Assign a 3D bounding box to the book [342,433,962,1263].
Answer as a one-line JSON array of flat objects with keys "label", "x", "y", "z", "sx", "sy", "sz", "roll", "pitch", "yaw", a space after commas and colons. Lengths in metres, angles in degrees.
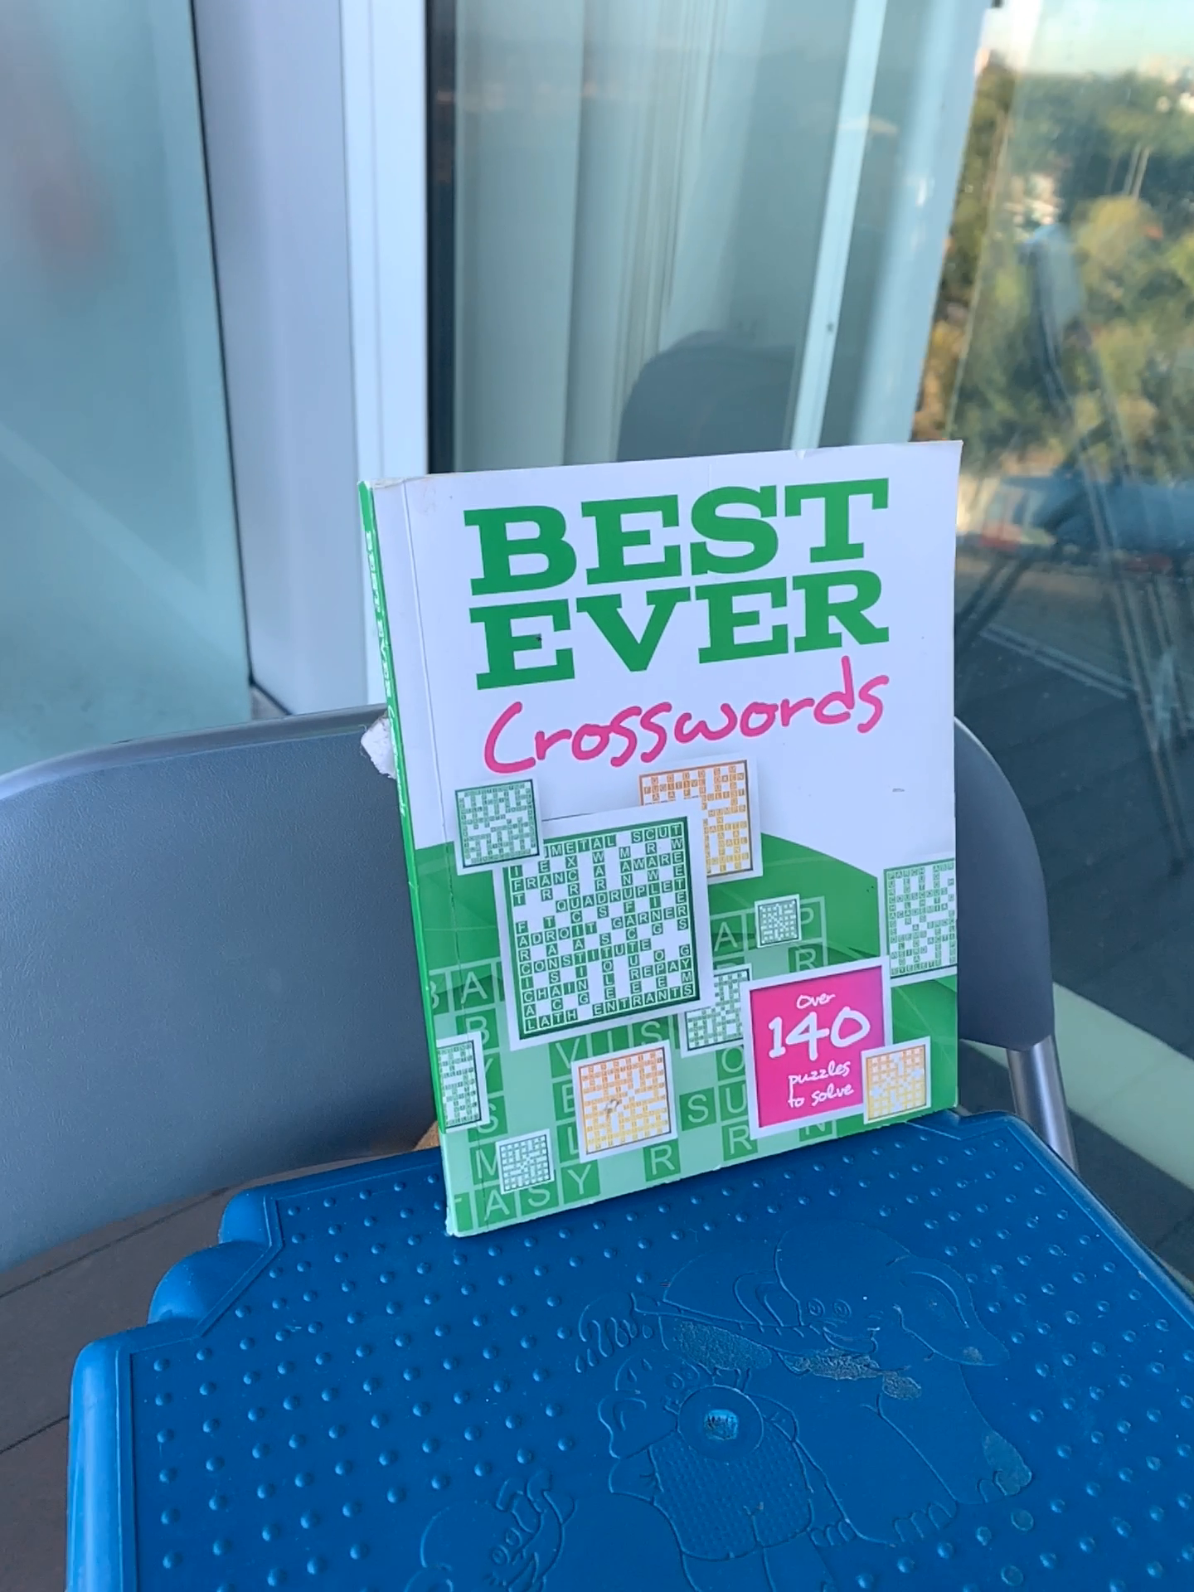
[{"label": "book", "x": 0.023, "y": 0.008, "z": 0.333, "sx": 0.157, "sy": 0.196, "sz": 0.030, "roll": -9, "pitch": 12, "yaw": -21}]
